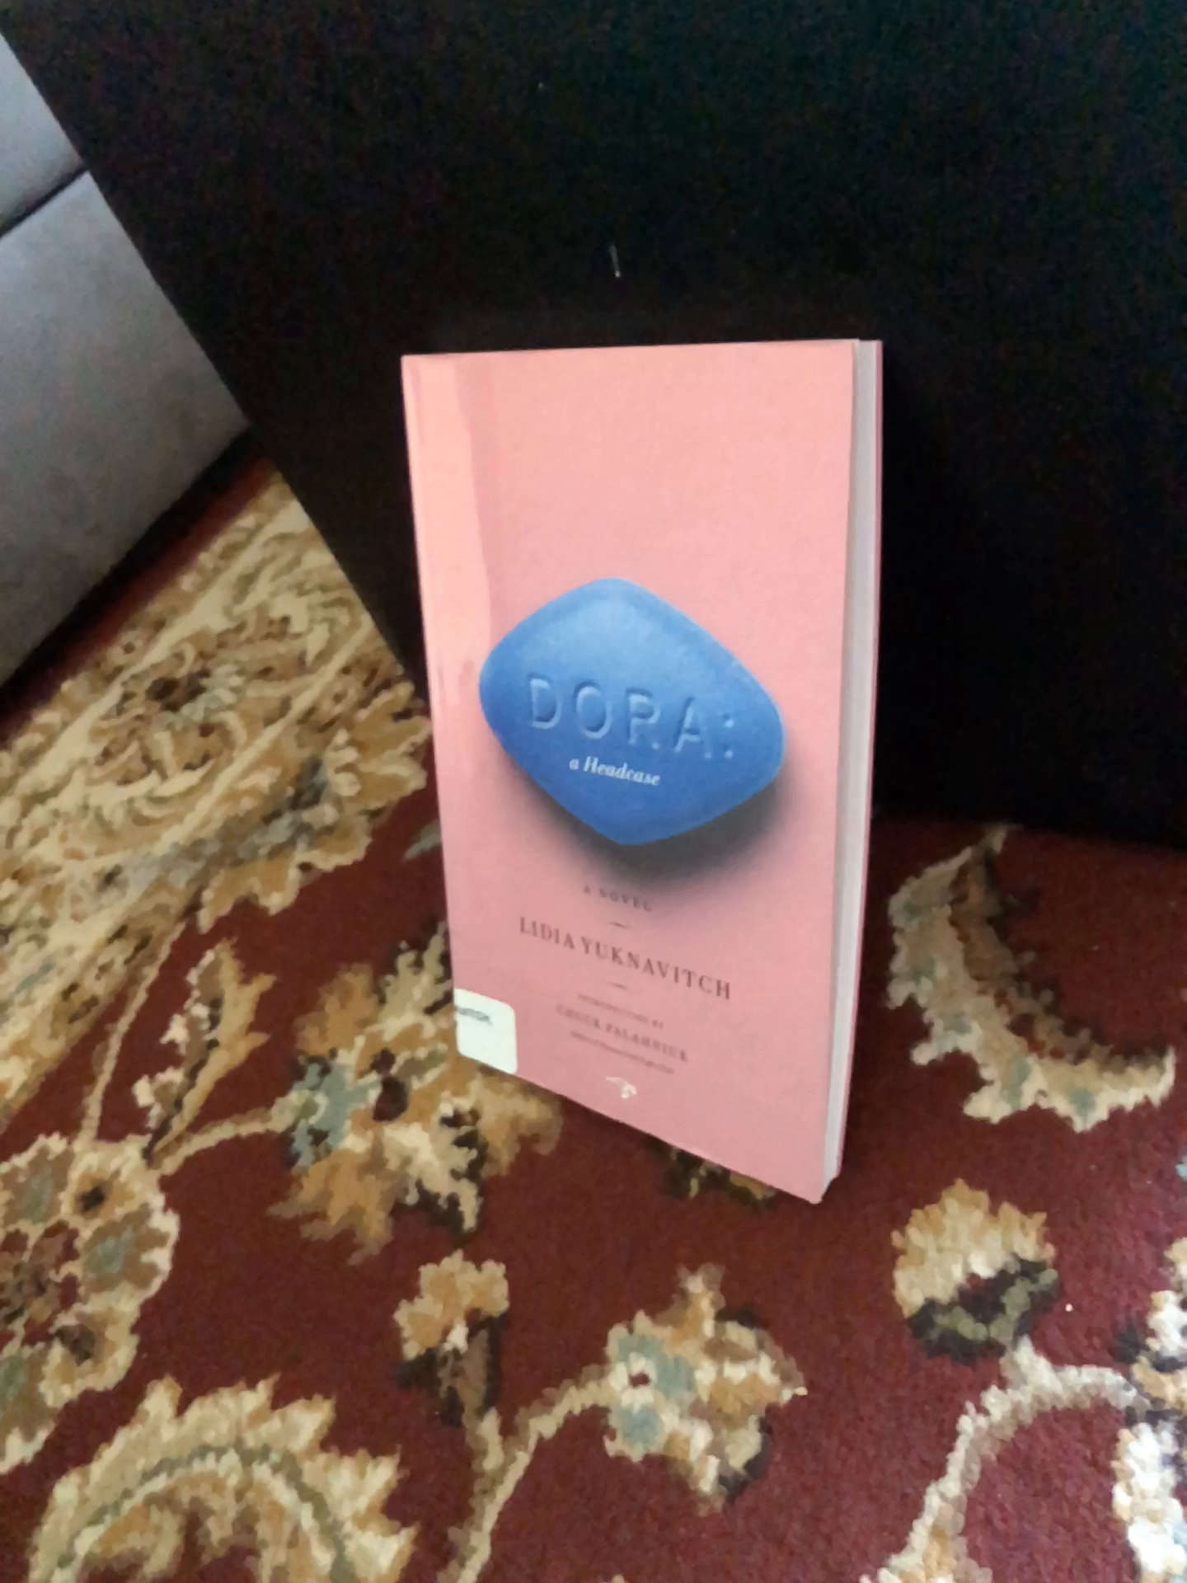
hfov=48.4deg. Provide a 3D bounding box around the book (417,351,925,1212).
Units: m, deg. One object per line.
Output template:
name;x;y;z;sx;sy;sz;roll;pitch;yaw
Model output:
book;0.017;-0.008;0.395;0.149;0.231;0.030;13;23;37
